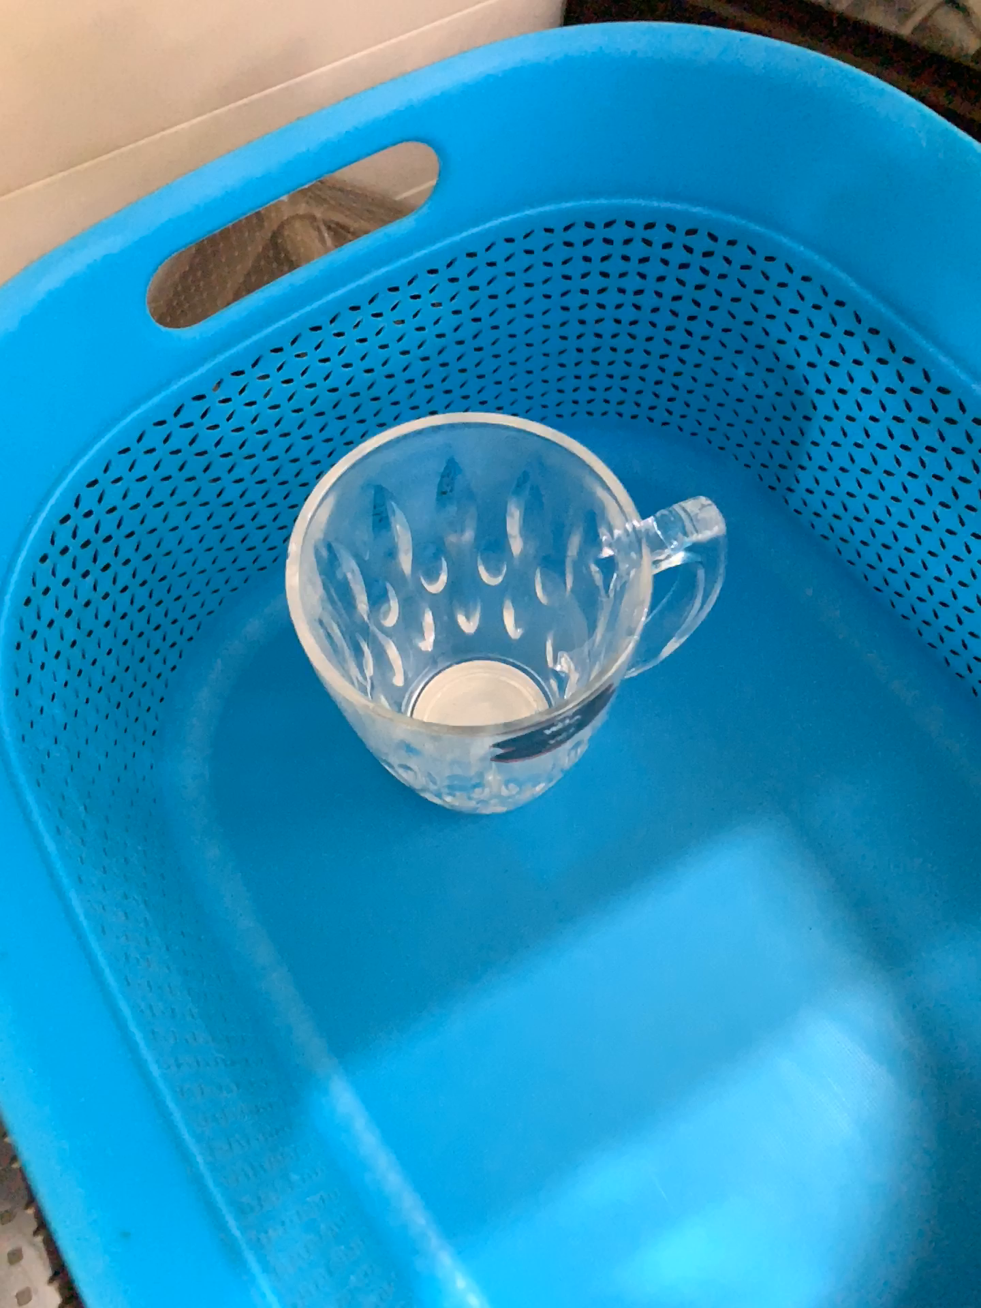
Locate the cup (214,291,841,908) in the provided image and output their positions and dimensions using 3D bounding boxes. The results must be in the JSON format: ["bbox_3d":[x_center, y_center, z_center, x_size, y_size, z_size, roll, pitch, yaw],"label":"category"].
[{"bbox_3d":[0.009,-0.005,0.270,0.109,0.117,0.078,-33,70,-12],"label":"cup"}]
